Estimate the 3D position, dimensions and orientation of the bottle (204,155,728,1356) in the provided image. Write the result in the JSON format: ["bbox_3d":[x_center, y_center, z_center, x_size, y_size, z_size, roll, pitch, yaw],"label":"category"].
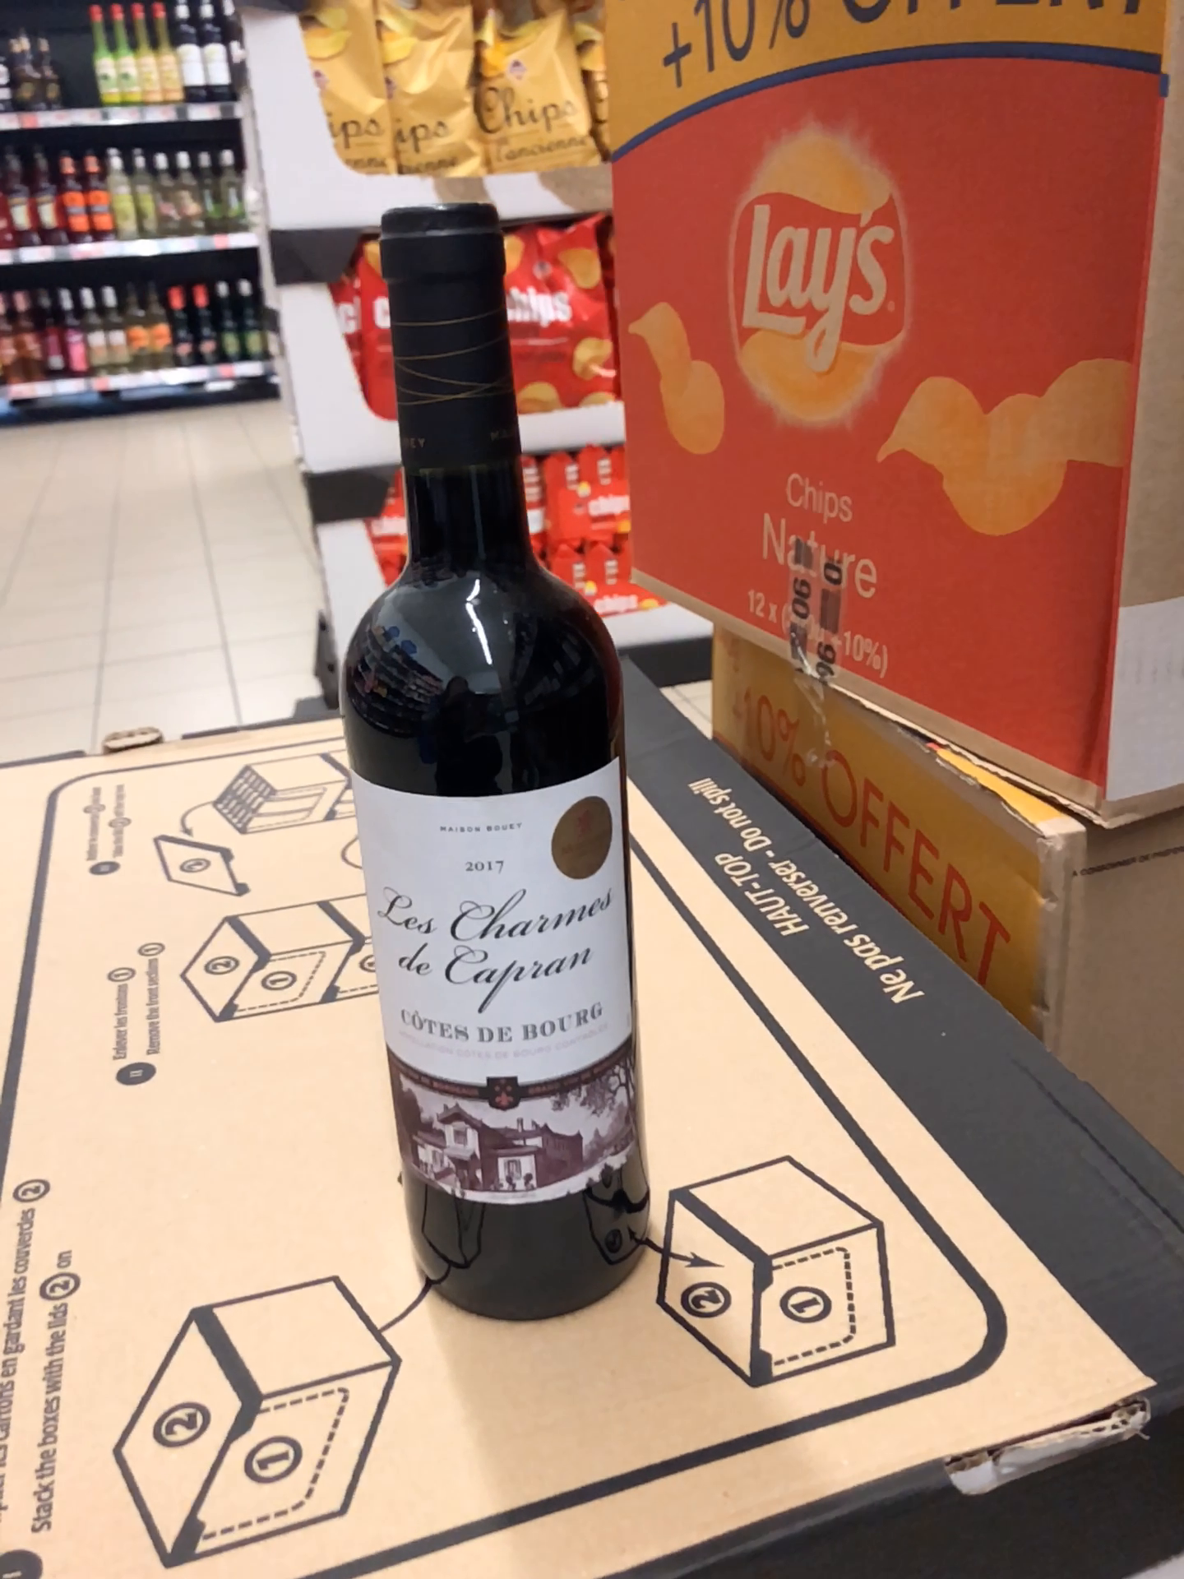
[{"bbox_3d":[-0.021,-0.001,0.340,0.090,0.289,0.090,-3,24,2],"label":"bottle"}]
